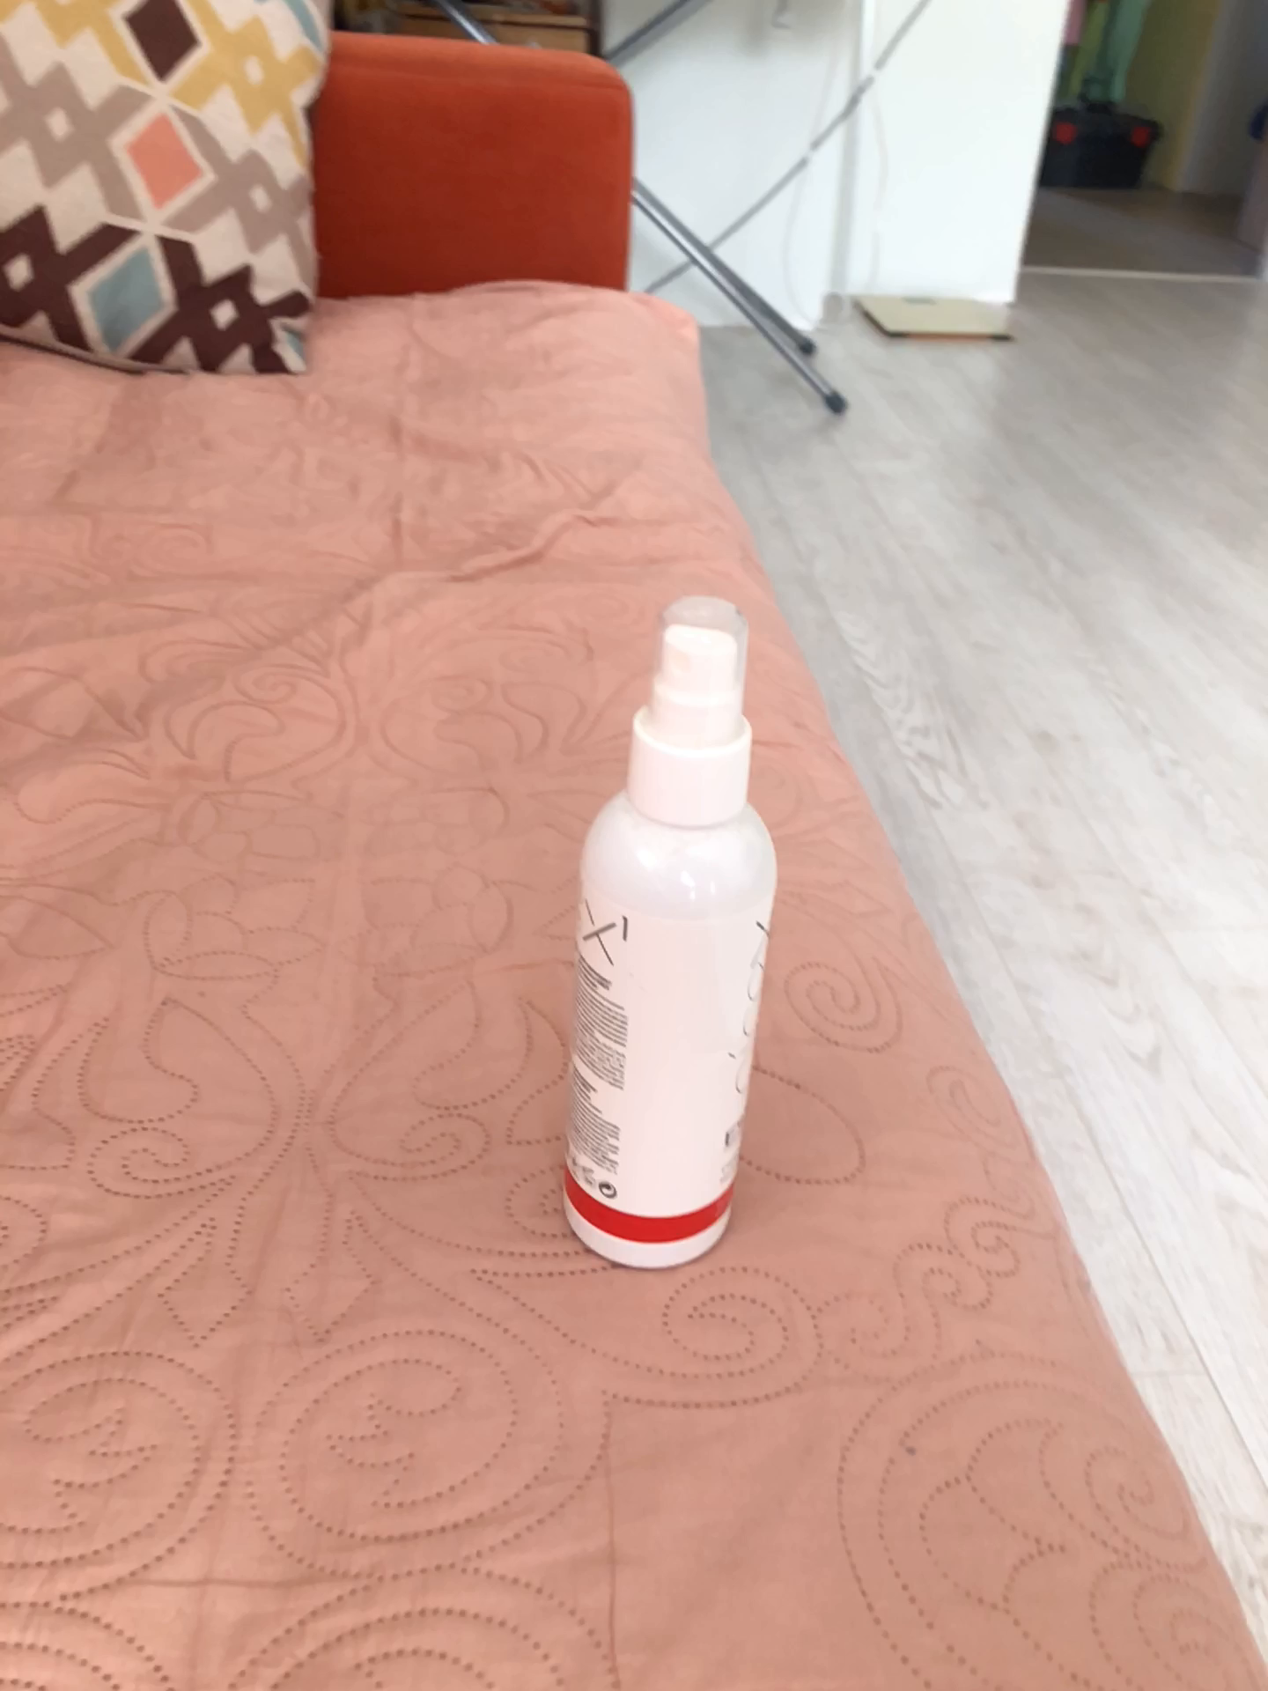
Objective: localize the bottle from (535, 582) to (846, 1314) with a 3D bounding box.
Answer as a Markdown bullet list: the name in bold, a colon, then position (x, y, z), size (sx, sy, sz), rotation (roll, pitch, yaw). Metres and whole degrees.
- **bottle**: position (0.010, 0.030, 0.331), size (0.050, 0.169, 0.050), rotation (3, 33, -2)
